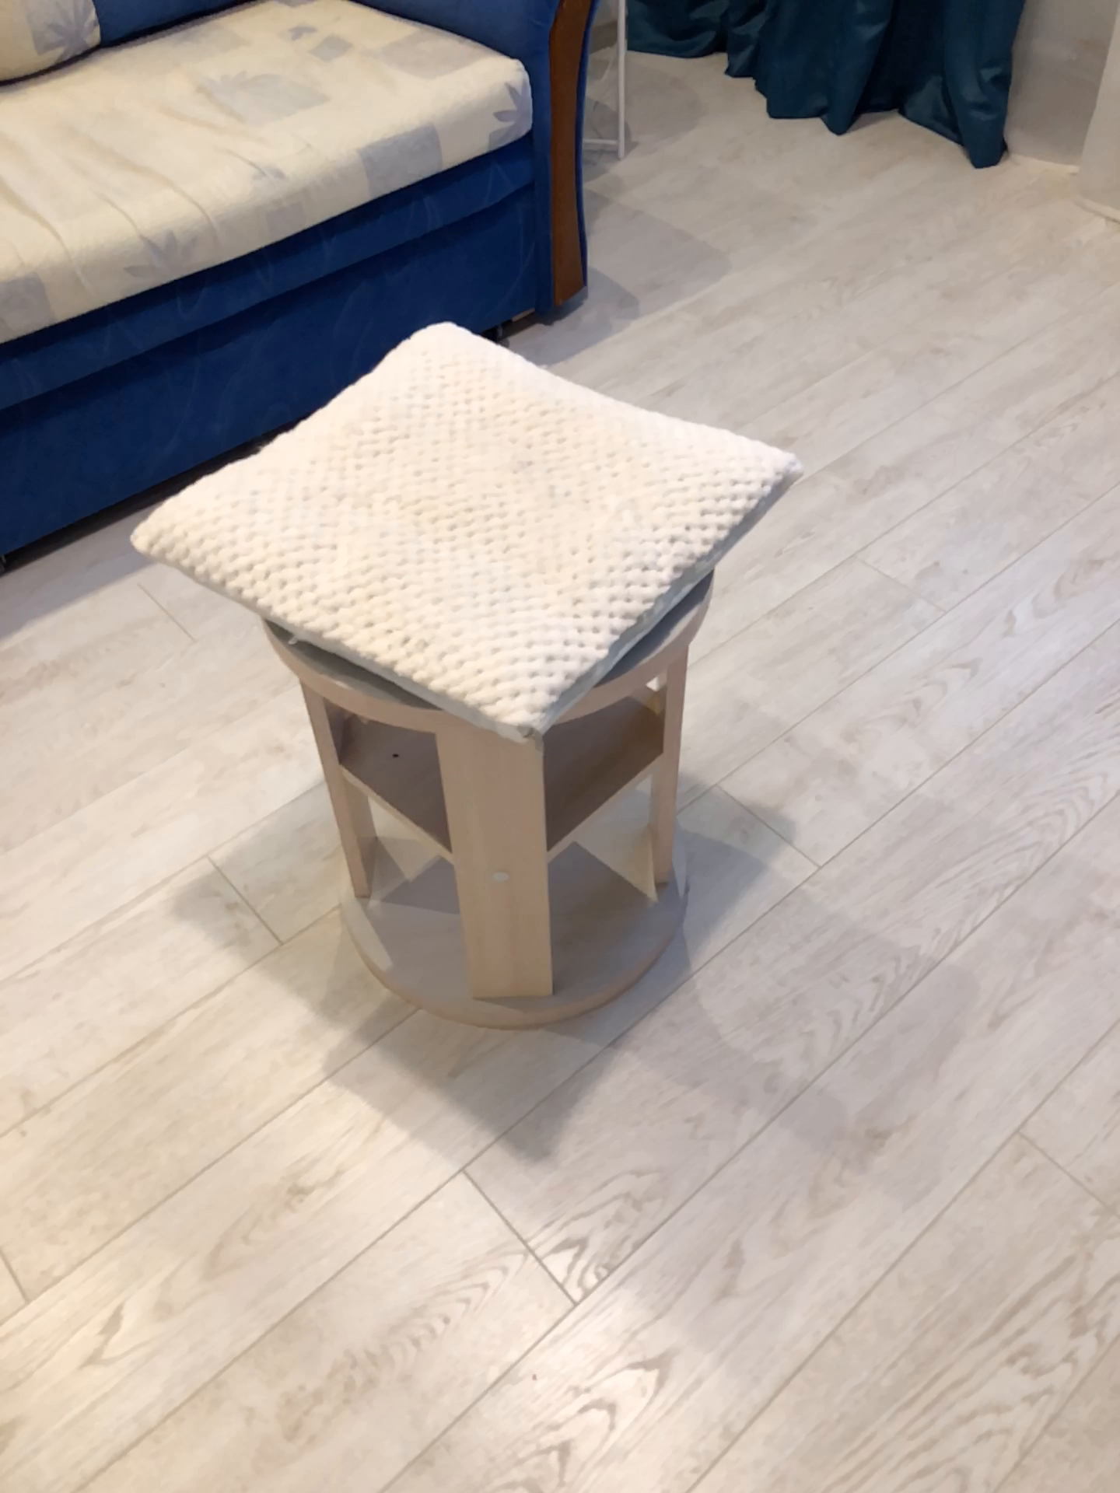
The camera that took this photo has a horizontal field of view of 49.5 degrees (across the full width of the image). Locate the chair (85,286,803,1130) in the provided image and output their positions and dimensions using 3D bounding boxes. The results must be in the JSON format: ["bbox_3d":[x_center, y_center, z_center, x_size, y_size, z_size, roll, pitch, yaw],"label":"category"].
[{"bbox_3d":[-0.089,-0.029,1.120,0.381,0.546,0.401,-32,55,-24],"label":"chair"}]
